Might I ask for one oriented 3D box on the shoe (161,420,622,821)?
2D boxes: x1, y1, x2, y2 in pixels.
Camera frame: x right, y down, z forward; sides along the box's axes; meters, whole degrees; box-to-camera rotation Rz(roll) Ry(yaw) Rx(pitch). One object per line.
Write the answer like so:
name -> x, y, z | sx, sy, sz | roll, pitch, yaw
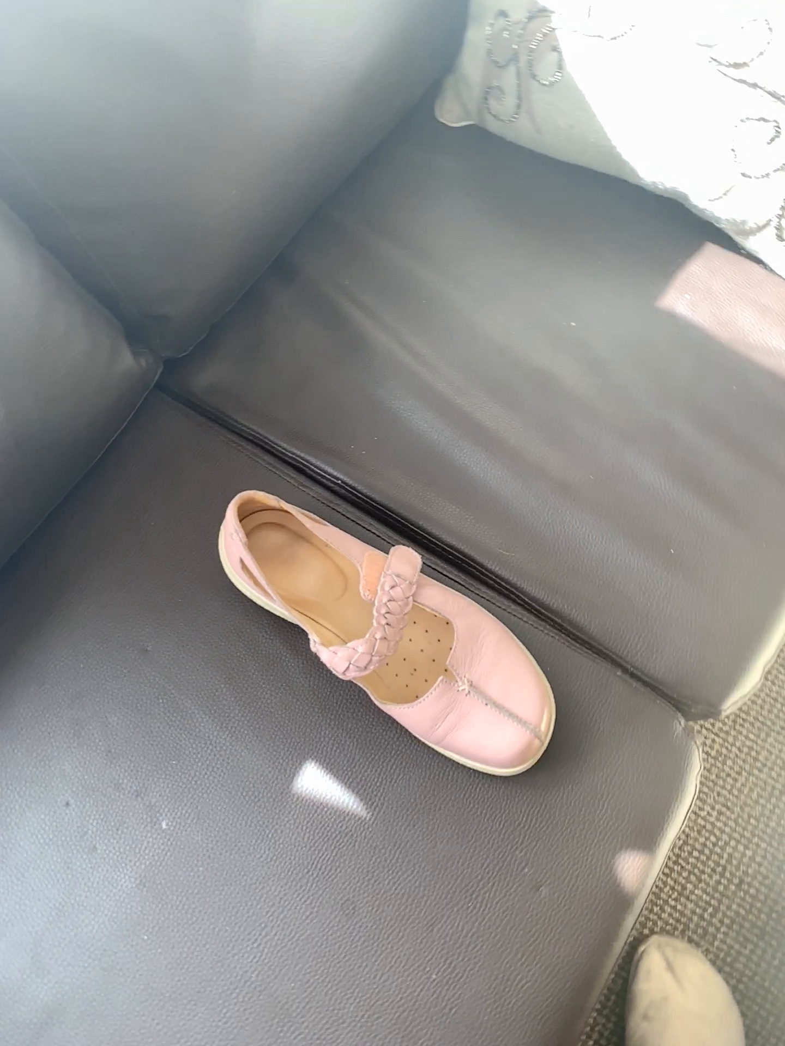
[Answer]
shoe -> -0.004, 0.063, 0.514 | 0.260, 0.100, 0.104 | 35, 74, 14
